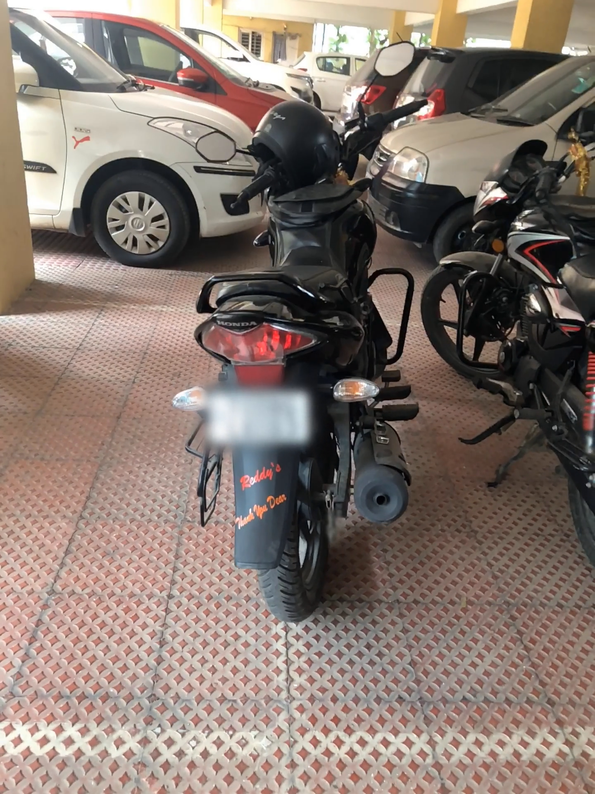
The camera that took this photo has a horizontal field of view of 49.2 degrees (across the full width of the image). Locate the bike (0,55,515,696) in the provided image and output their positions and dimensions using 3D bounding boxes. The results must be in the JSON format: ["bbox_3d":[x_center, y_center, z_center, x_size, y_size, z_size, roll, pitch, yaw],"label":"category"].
[{"bbox_3d":[-0.102,-0.316,2.003,0.804,1.200,1.692,5,28,0],"label":"bike"}]
